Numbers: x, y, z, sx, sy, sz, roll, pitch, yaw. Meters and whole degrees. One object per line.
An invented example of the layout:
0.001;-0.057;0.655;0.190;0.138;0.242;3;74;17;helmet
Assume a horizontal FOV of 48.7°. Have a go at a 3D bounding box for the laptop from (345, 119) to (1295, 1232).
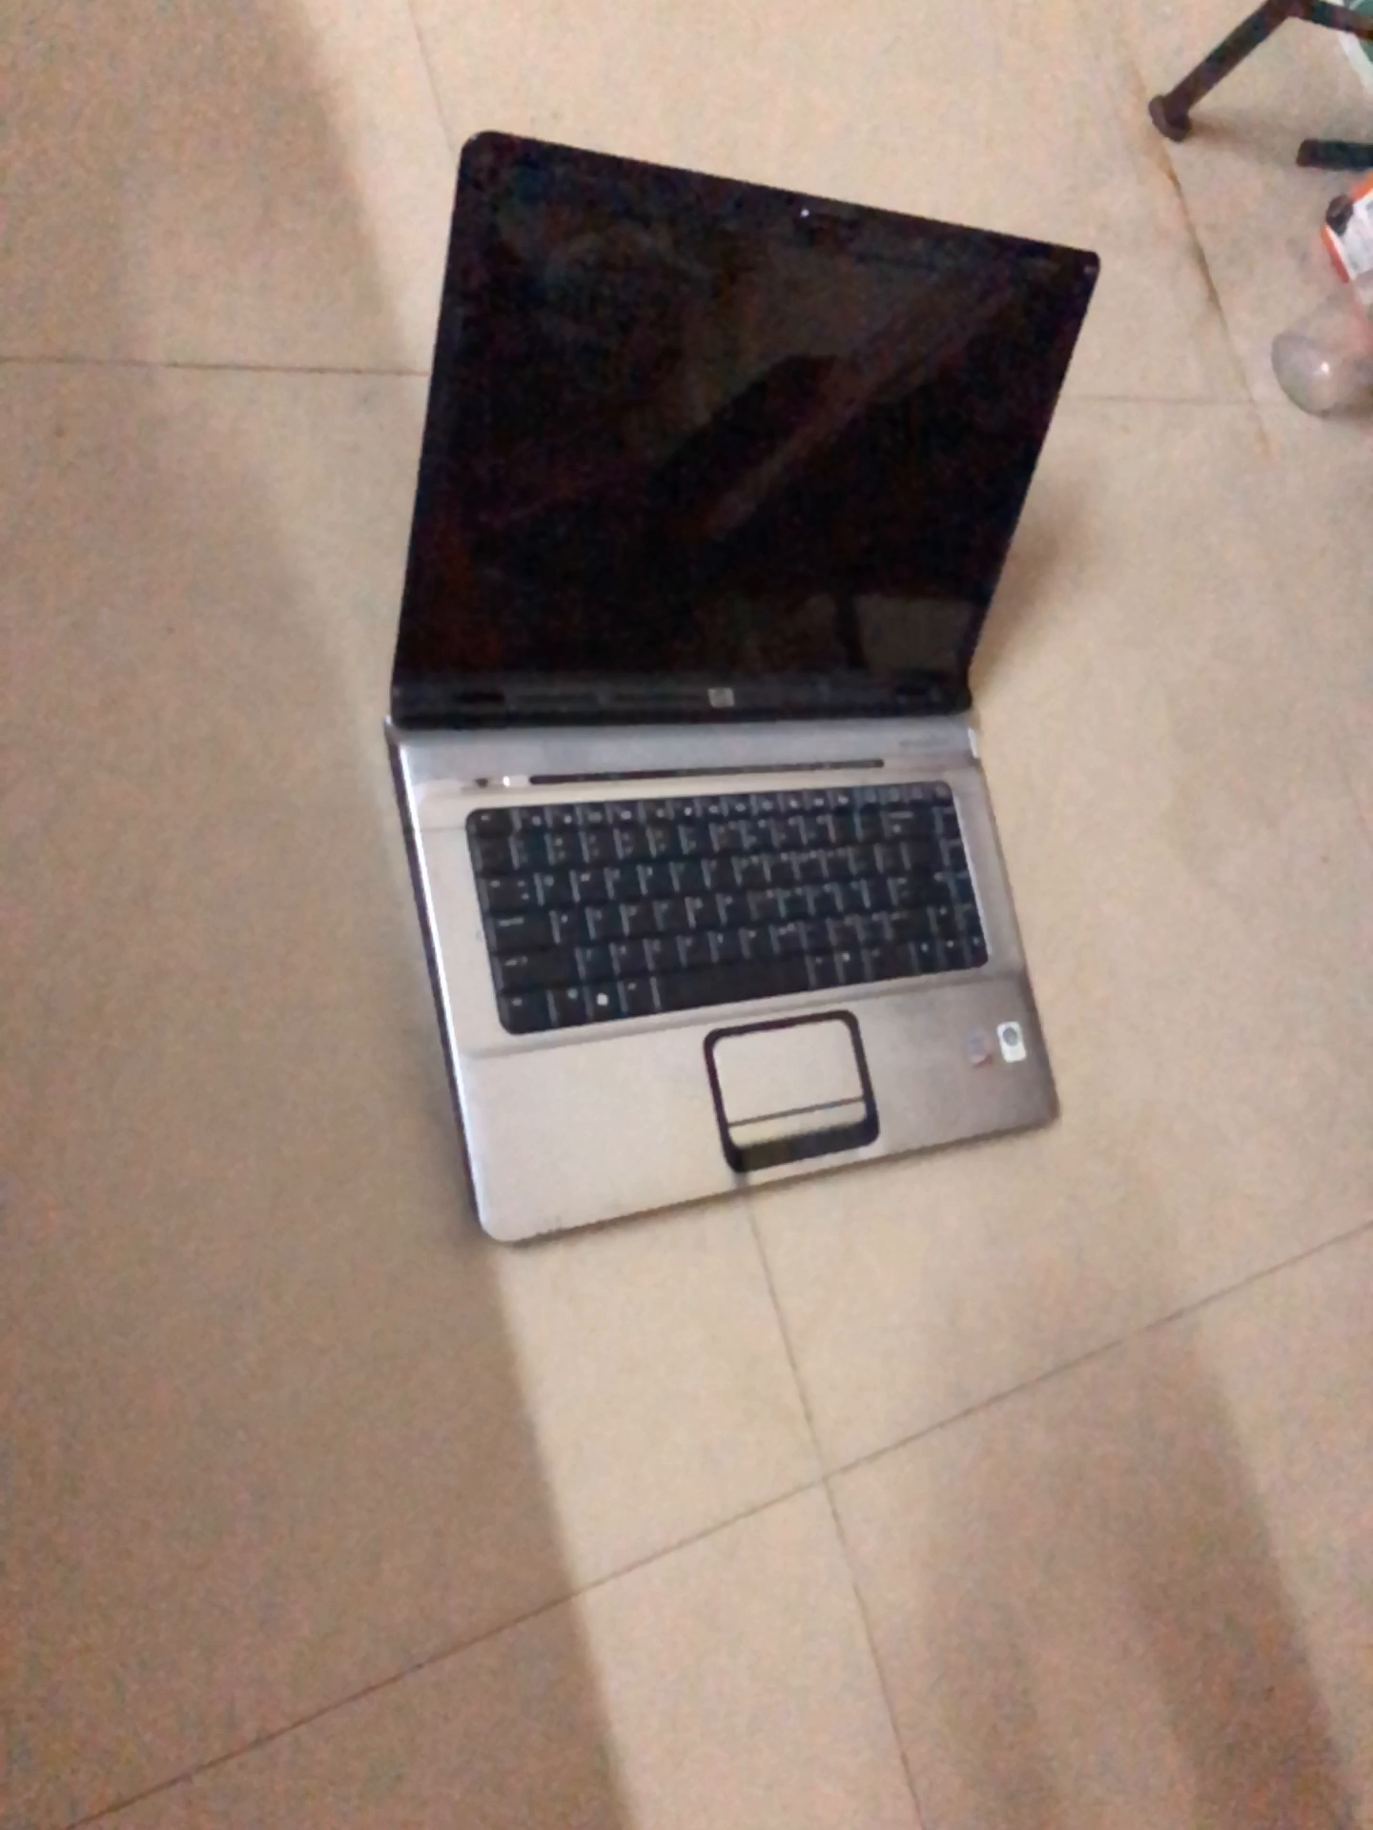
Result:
0.060;-0.098;0.708;0.339;0.166;0.409;-6;80;-32;laptop
